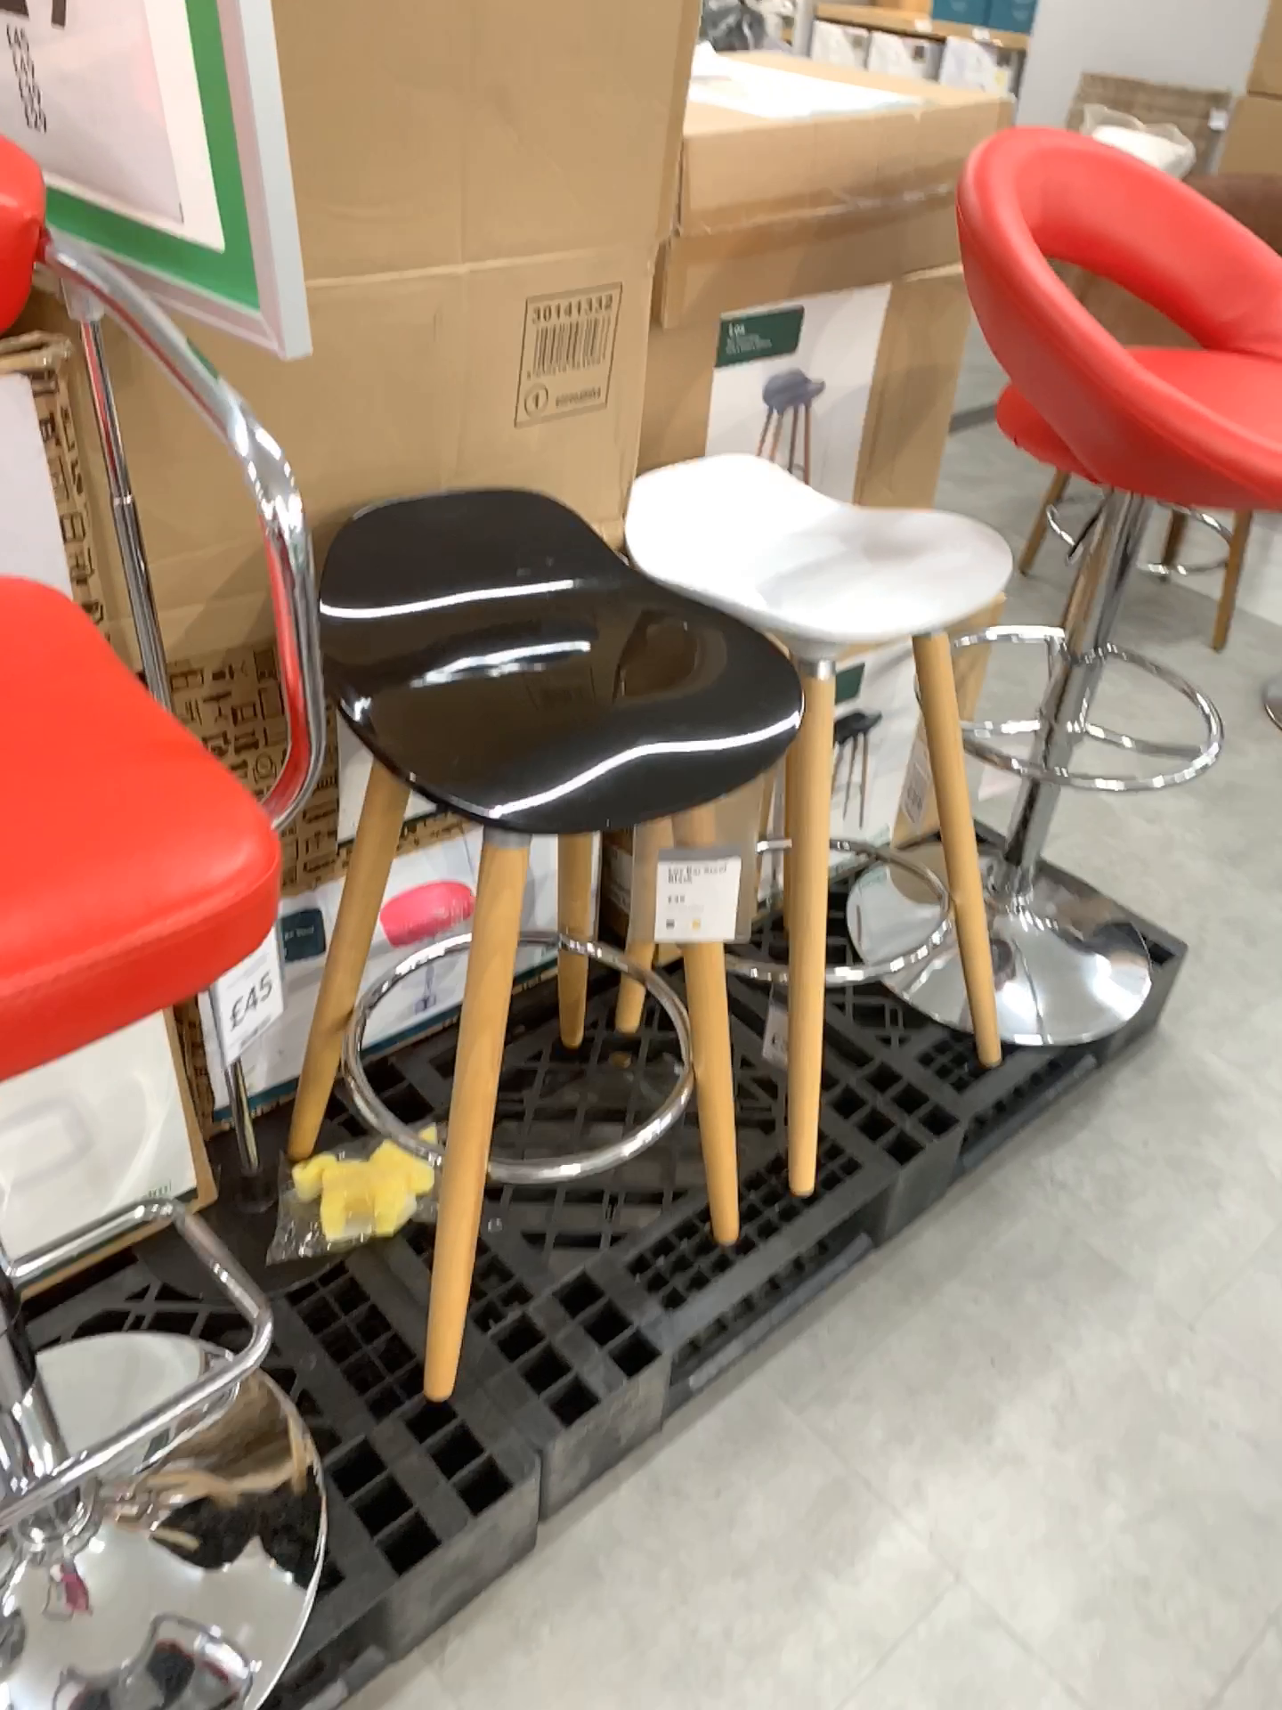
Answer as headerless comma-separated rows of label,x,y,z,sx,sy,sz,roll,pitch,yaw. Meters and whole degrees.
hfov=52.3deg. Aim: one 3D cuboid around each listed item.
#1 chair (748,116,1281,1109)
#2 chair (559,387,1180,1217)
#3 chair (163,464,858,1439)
chair,0.519,-0.285,1.572,0.476,0.978,0.479,-24,45,-33
chair,0.198,-0.064,1.447,0.386,0.721,0.418,-24,45,-33
chair,-0.132,0.087,1.212,0.385,0.721,0.399,-19,43,-29
